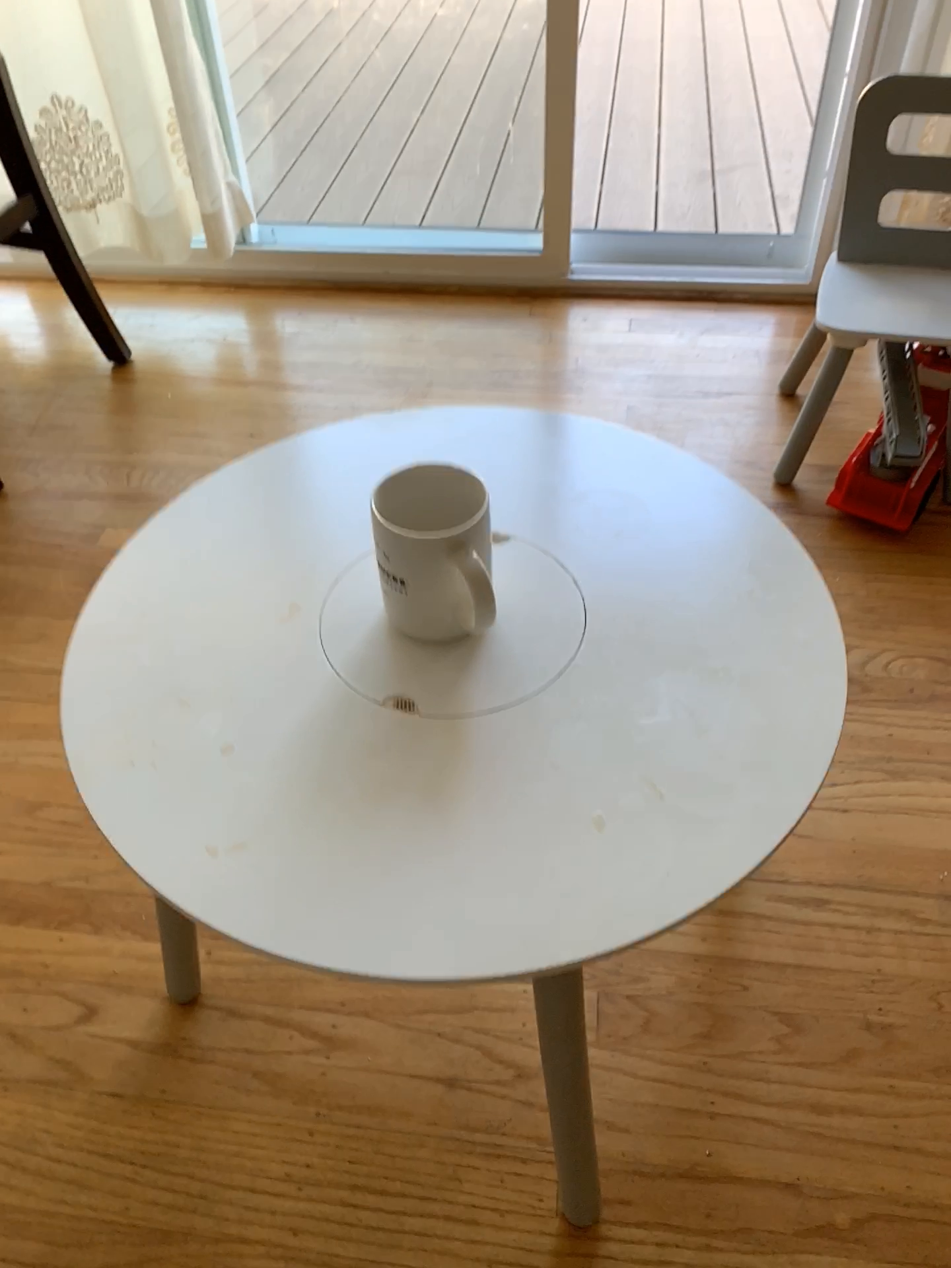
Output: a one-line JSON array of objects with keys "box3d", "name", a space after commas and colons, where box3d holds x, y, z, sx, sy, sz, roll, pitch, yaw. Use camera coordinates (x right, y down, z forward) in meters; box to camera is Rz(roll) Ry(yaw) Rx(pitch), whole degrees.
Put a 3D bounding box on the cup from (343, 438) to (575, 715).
[{"box3d": [-0.012, -0.043, 0.684, 0.090, 0.110, 0.141, -28, 51, -22], "name": "cup"}]
